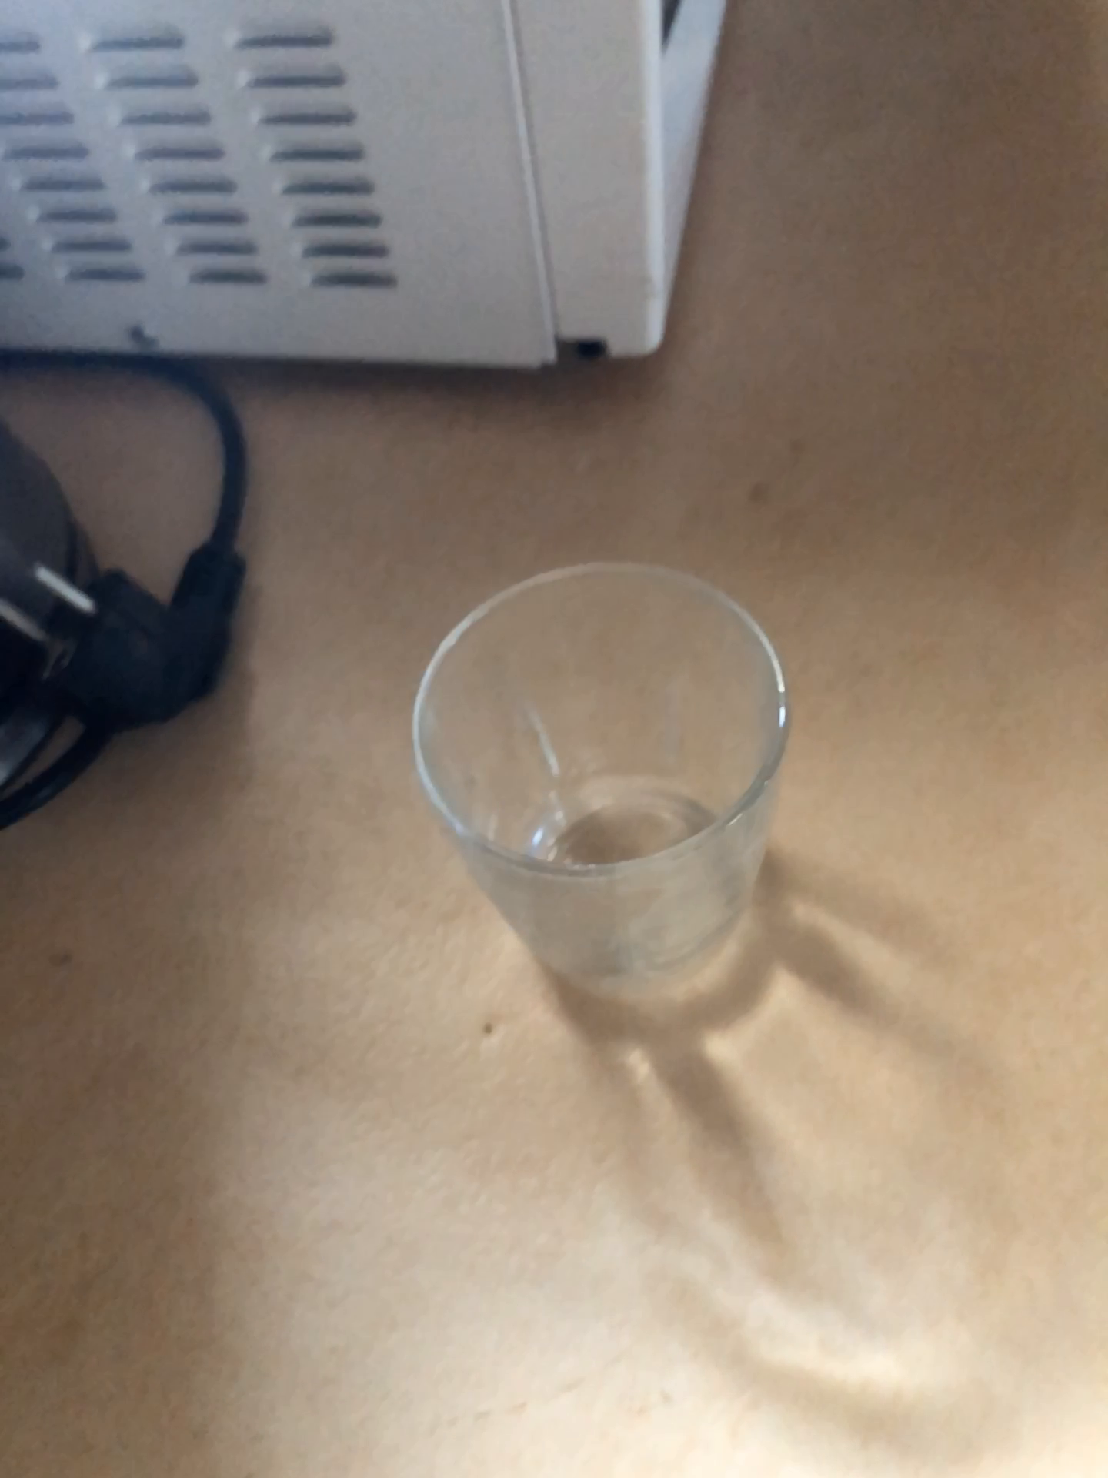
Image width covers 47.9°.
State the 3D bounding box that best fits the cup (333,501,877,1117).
[{"bbox_3d":[0.012,0.016,0.254,0.070,0.080,0.070,-4,55,6],"label":"cup"}]
